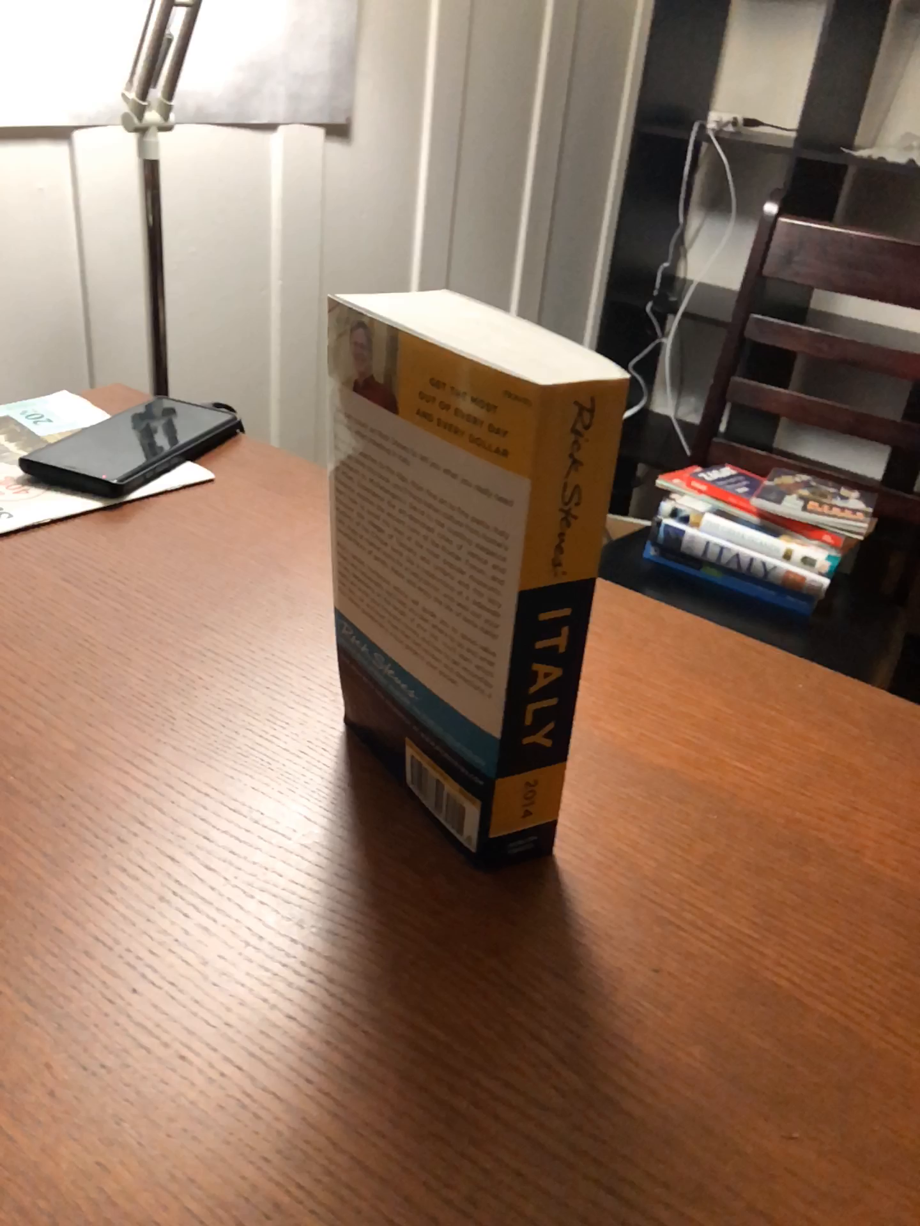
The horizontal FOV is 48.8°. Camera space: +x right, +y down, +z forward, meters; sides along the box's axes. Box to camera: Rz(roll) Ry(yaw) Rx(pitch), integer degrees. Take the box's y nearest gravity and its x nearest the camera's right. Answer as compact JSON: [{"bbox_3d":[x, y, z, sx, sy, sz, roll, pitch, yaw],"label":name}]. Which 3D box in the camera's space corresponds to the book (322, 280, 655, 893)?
[{"bbox_3d":[0.000,-0.012,0.401,0.050,0.199,0.130,-17,37,-28],"label":"book"}]
